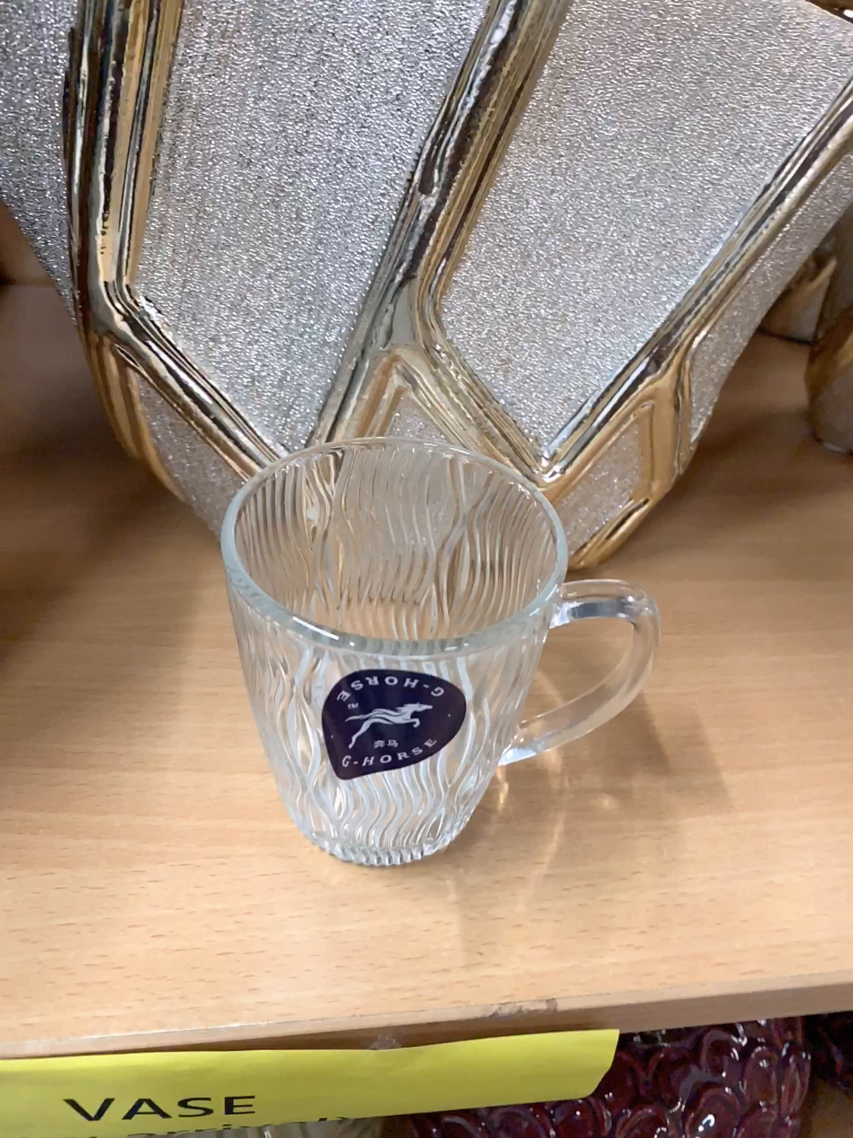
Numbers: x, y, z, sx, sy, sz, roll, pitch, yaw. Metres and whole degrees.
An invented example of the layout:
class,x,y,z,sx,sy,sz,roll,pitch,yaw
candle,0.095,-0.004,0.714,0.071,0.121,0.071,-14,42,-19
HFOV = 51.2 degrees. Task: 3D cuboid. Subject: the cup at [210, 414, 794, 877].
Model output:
class,x,y,z,sx,sy,sz,roll,pitch,yaw
cup,0.008,0.014,0.198,0.100,0.070,0.070,-1,38,-8
